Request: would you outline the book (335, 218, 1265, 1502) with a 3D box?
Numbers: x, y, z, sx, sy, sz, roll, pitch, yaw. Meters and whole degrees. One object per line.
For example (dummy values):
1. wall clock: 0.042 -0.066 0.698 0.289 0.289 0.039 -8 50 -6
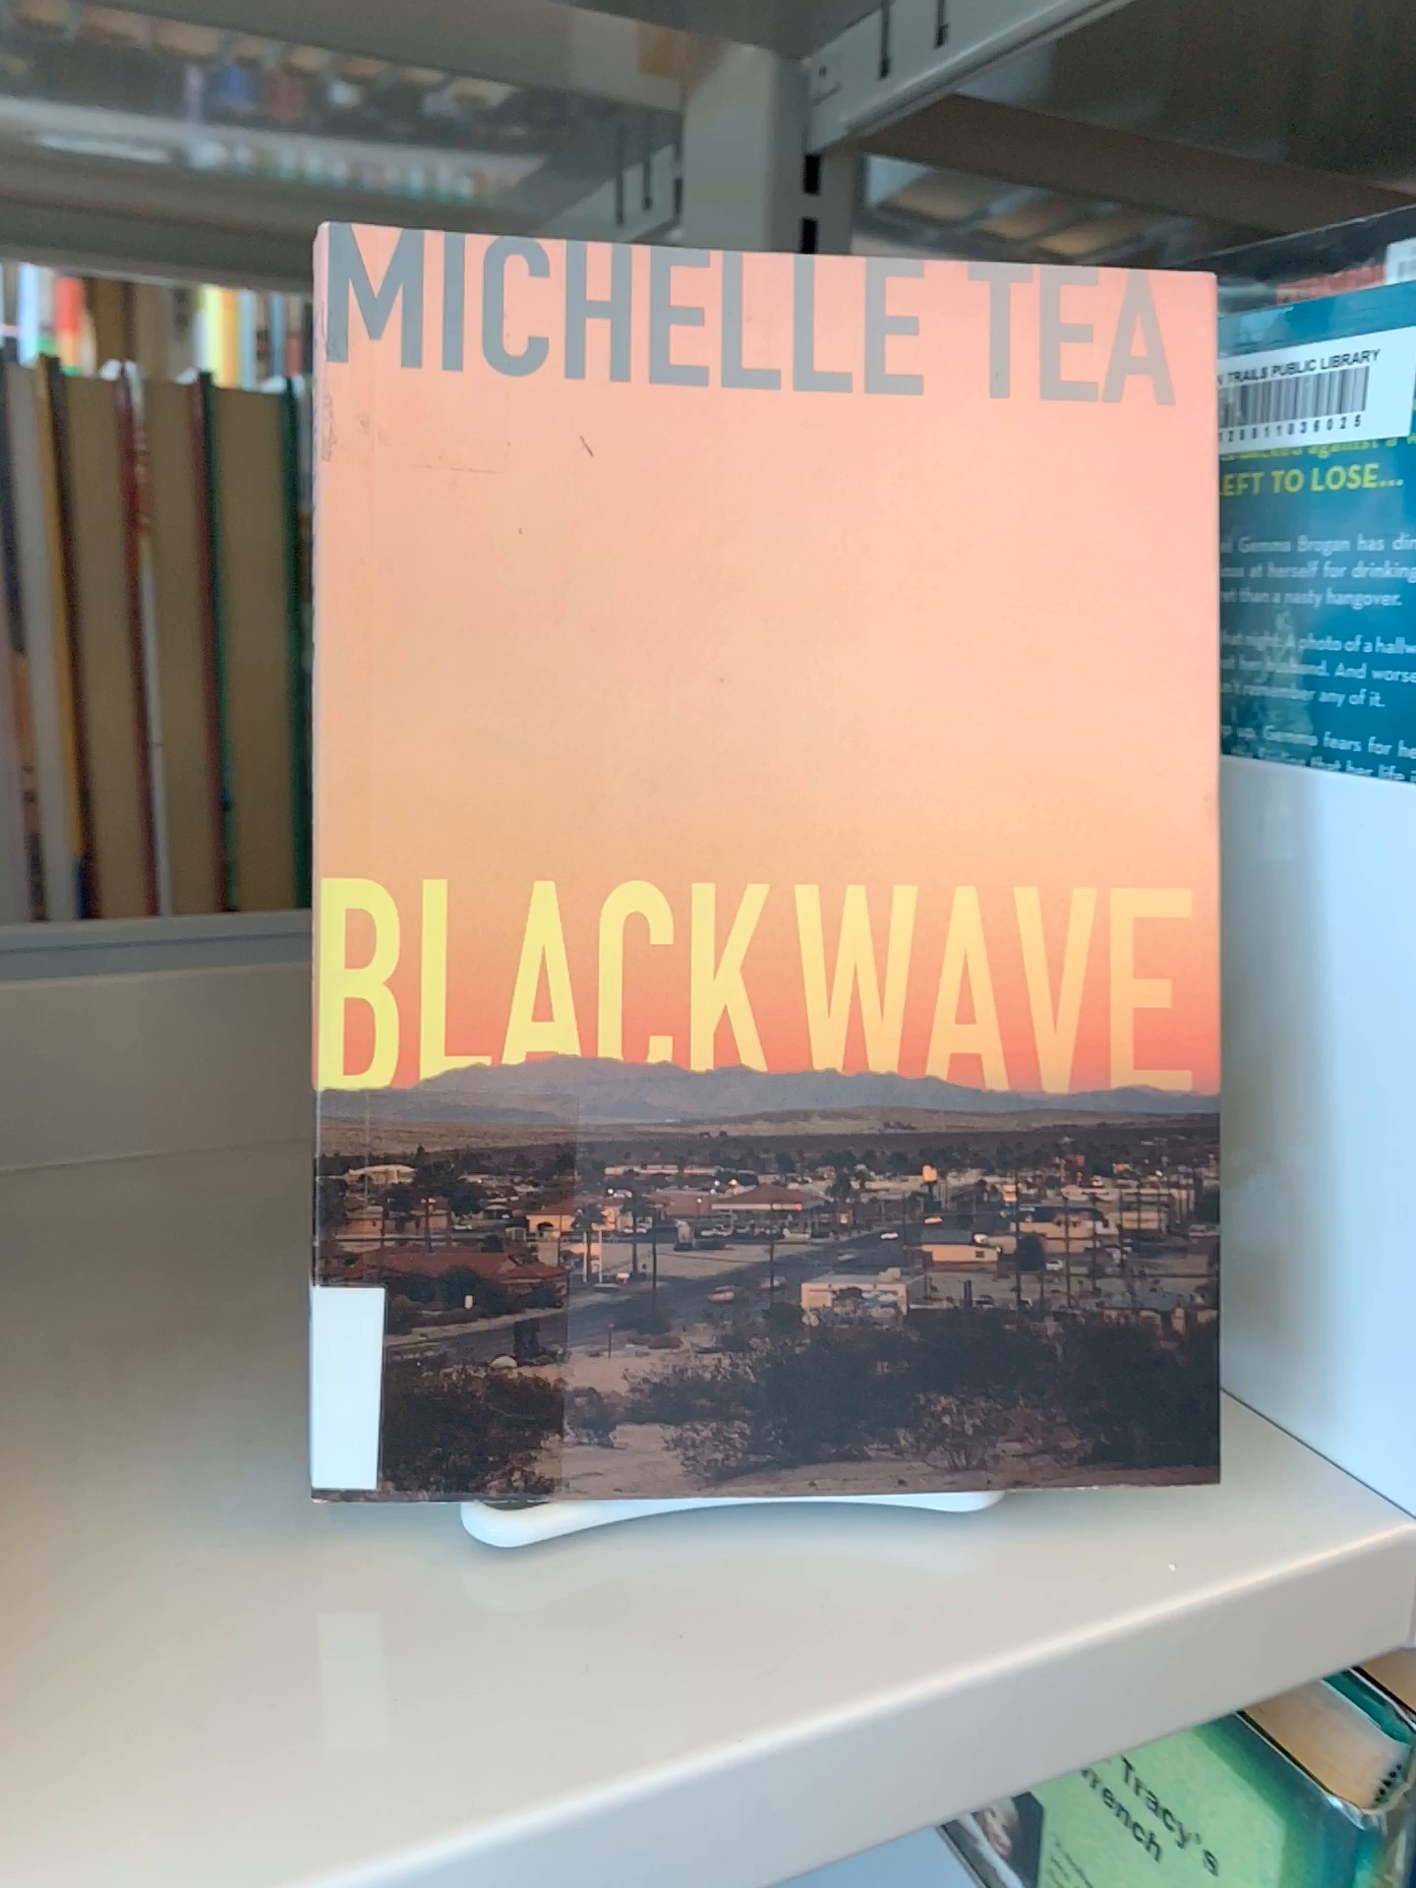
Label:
1. book: 0.015 -0.012 0.255 0.147 0.201 0.036 1 1 -5
